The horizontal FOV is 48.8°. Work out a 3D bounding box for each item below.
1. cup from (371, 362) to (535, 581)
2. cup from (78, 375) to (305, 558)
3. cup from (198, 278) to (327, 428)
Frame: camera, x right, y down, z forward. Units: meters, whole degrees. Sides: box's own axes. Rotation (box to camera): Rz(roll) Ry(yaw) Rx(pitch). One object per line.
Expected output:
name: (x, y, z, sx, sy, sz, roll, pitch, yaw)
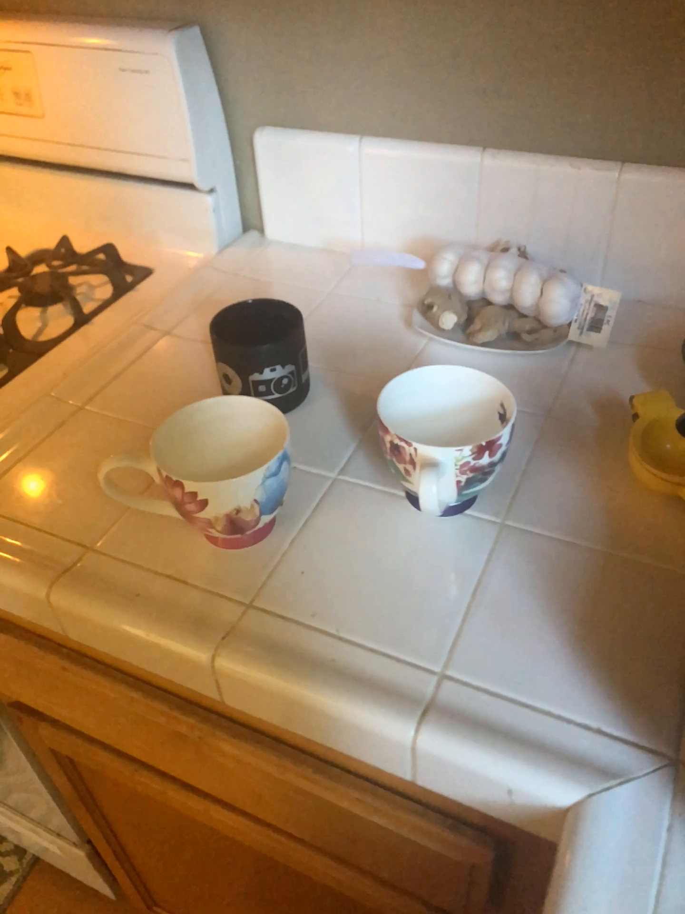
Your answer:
cup: (0.086, 0.007, 0.595, 0.110, 0.089, 0.151, 2, 41, 8)
cup: (-0.108, 0.006, 0.592, 0.150, 0.079, 0.111, -4, 41, 1)
cup: (-0.082, -0.107, 0.753, 0.110, 0.069, 0.141, -8, 41, -5)
